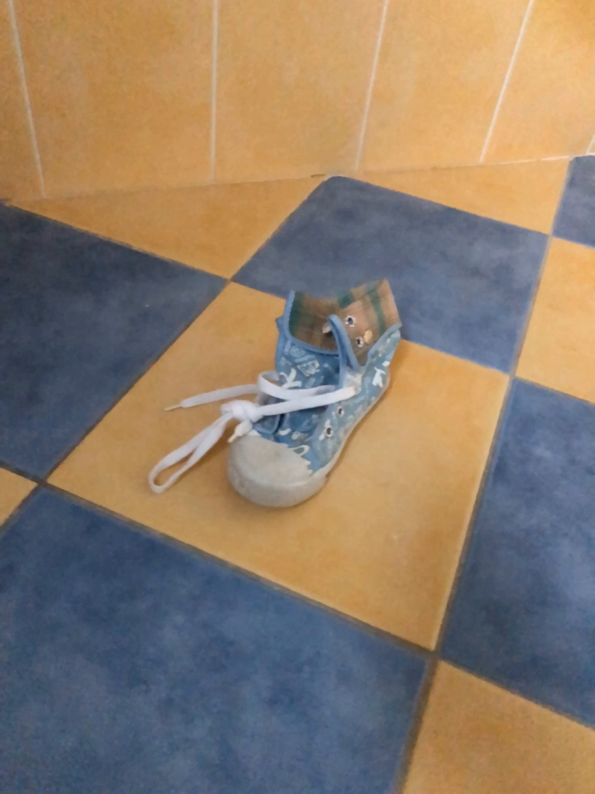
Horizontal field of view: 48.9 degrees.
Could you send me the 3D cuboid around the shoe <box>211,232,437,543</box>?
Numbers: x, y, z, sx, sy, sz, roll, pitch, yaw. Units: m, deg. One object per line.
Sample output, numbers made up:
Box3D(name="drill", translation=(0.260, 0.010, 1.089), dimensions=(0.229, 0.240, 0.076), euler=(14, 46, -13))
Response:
Box3D(name="shoe", translation=(0.023, -0.016, 0.491), dimensions=(0.080, 0.119, 0.201), euler=(22, 45, 15))
